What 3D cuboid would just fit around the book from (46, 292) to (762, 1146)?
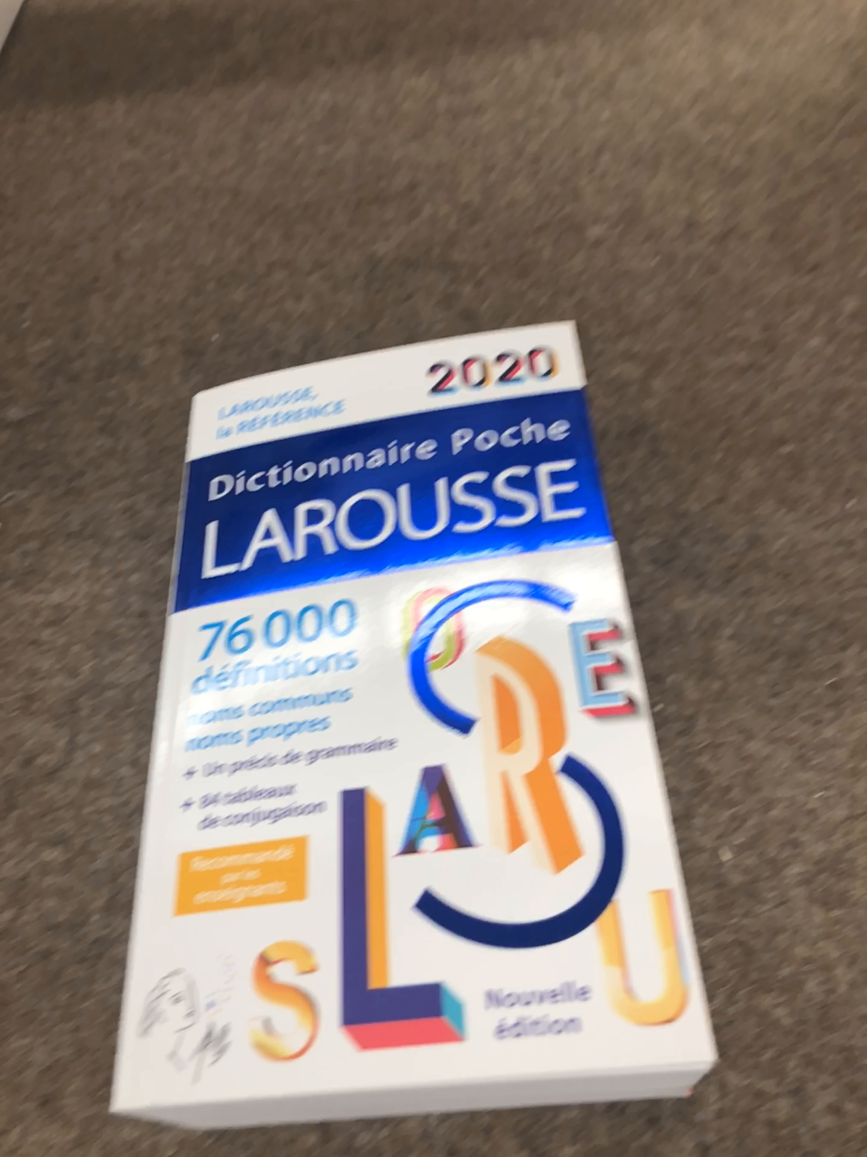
[{"bbox_3d":[-0.010,0.023,0.232,0.116,0.060,0.185,-6,57,2],"label":"book"}]
